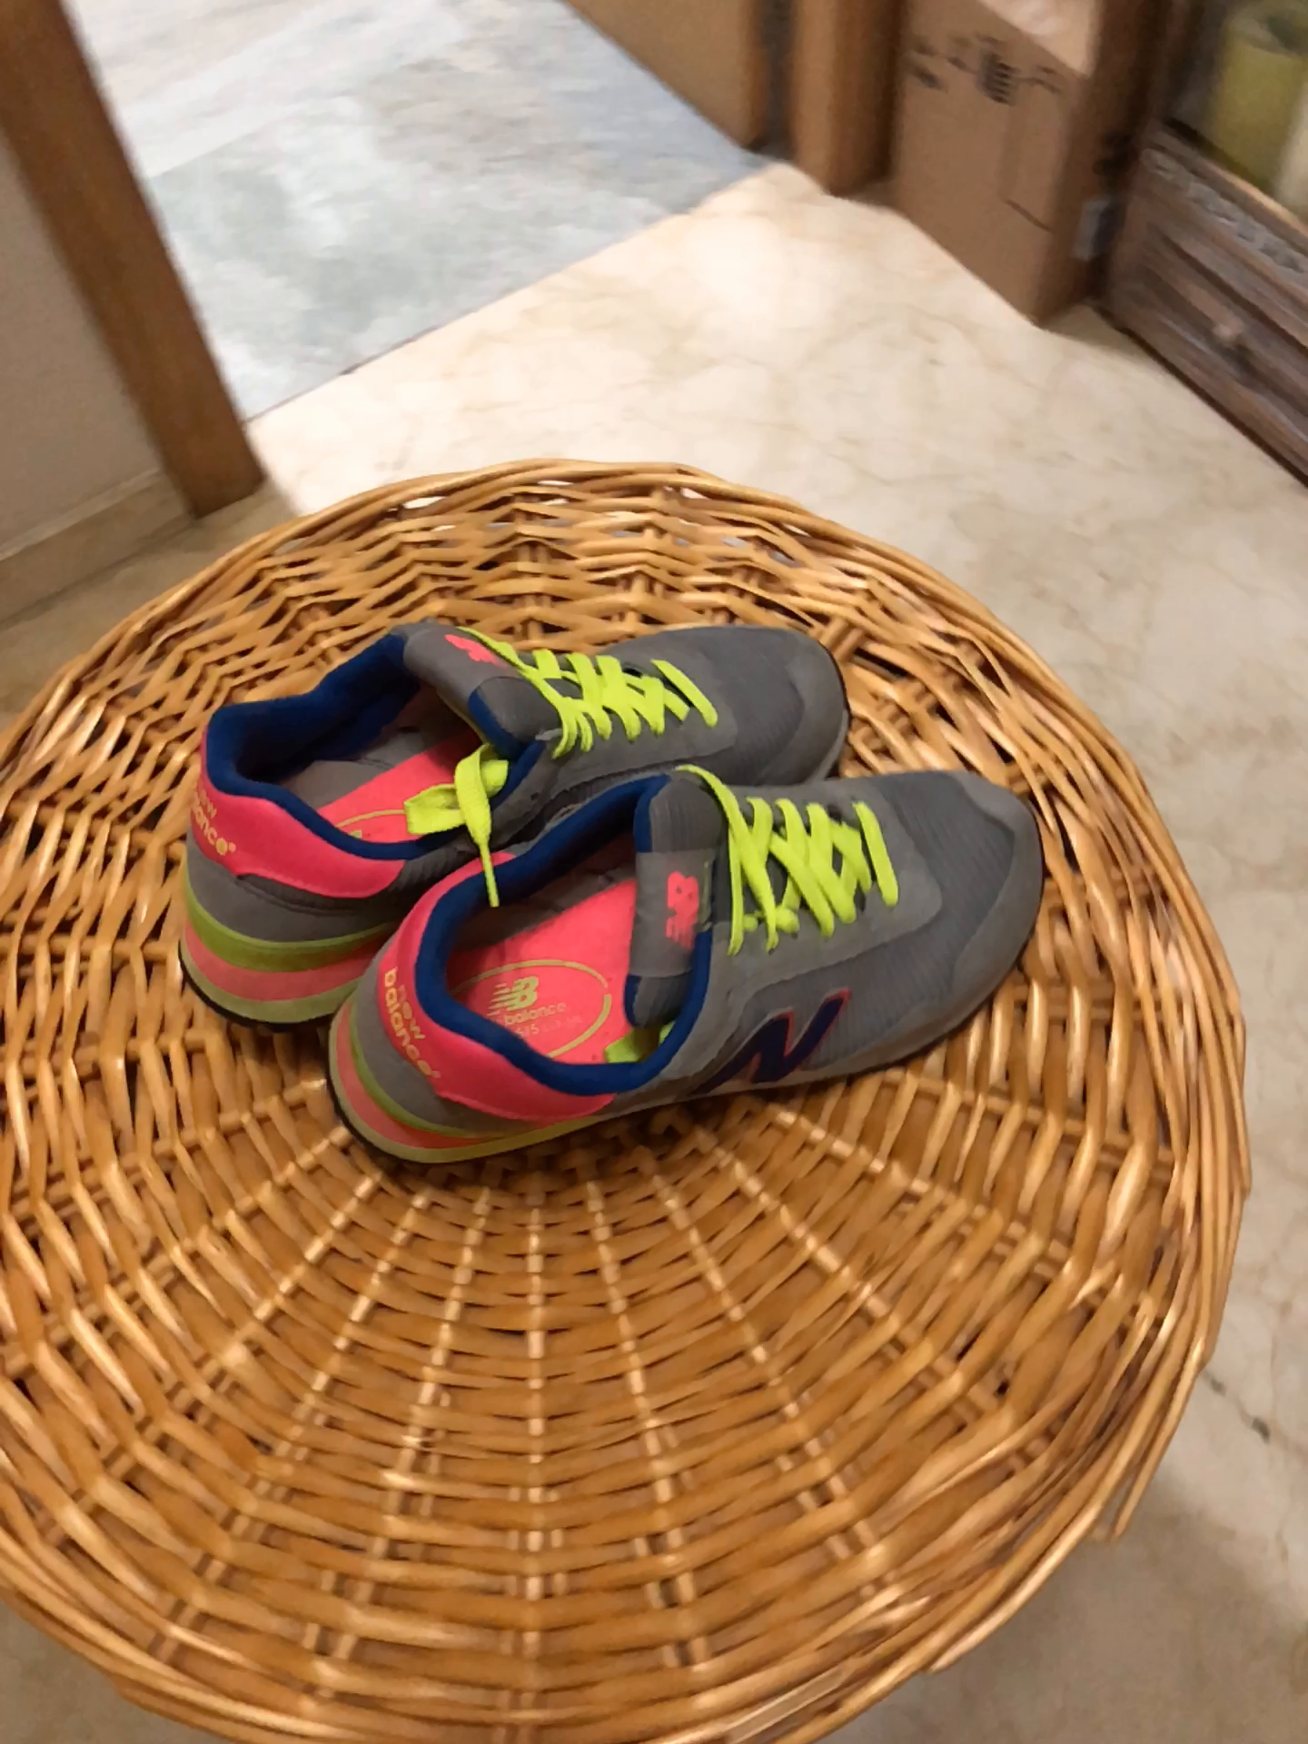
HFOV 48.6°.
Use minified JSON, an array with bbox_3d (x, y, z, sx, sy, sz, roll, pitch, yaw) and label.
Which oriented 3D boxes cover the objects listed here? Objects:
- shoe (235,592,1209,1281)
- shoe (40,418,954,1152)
[{"bbox_3d":[0.020,0.024,0.464,0.260,0.110,0.100,-21,65,-7],"label":"shoe"},{"bbox_3d":[-0.045,-0.031,0.510,0.280,0.110,0.100,-28,61,-11],"label":"shoe"}]
